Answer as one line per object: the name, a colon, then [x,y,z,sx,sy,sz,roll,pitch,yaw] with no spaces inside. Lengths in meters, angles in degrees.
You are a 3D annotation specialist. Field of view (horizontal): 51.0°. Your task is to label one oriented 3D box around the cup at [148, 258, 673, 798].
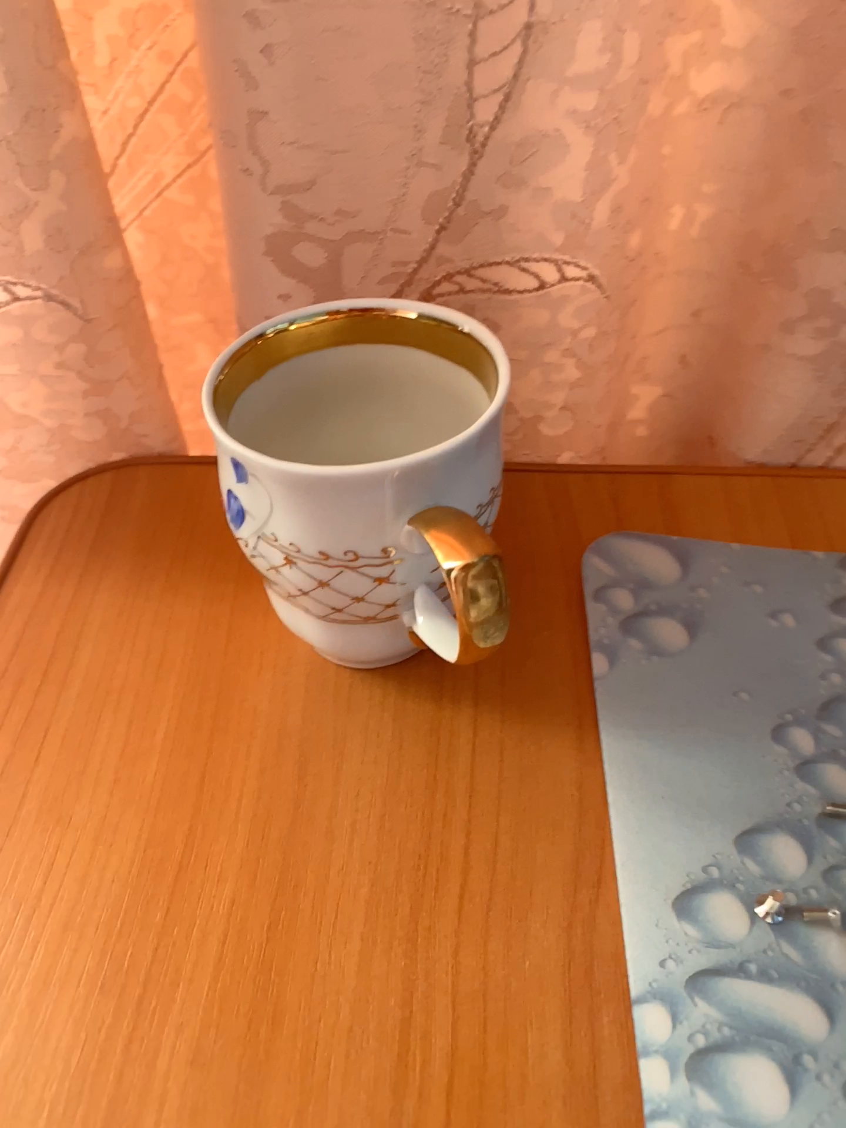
cup: [-0.006,-0.013,0.179,0.059,0.055,0.083,-26,49,-24]
